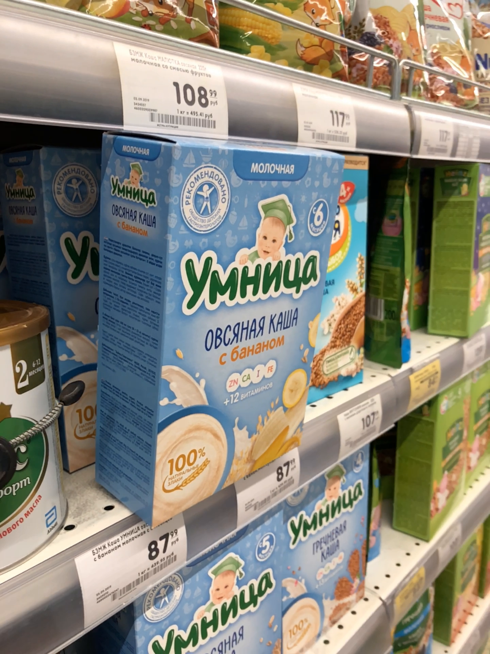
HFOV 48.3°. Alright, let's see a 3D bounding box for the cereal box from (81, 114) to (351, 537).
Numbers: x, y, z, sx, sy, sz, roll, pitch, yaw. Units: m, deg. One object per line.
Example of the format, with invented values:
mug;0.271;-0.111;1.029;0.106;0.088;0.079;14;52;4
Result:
cereal box;-0.016;-0.010;0.332;0.060;0.209;0.150;20;23;38
